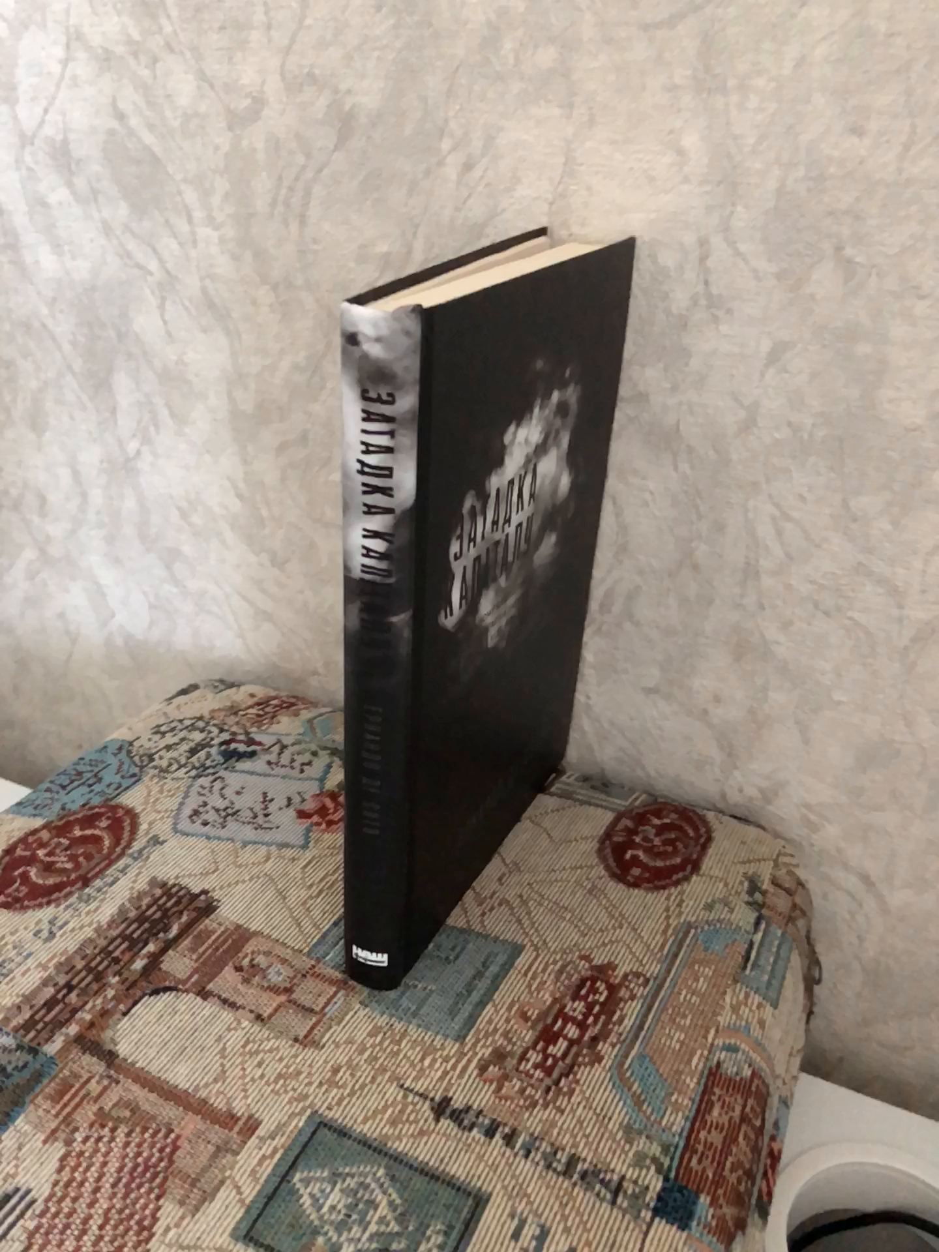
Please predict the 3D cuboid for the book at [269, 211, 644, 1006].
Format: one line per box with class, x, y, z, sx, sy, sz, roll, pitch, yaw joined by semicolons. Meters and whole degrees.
book;0.004;-0.009;0.317;0.035;0.200;0.138;16;34;23
